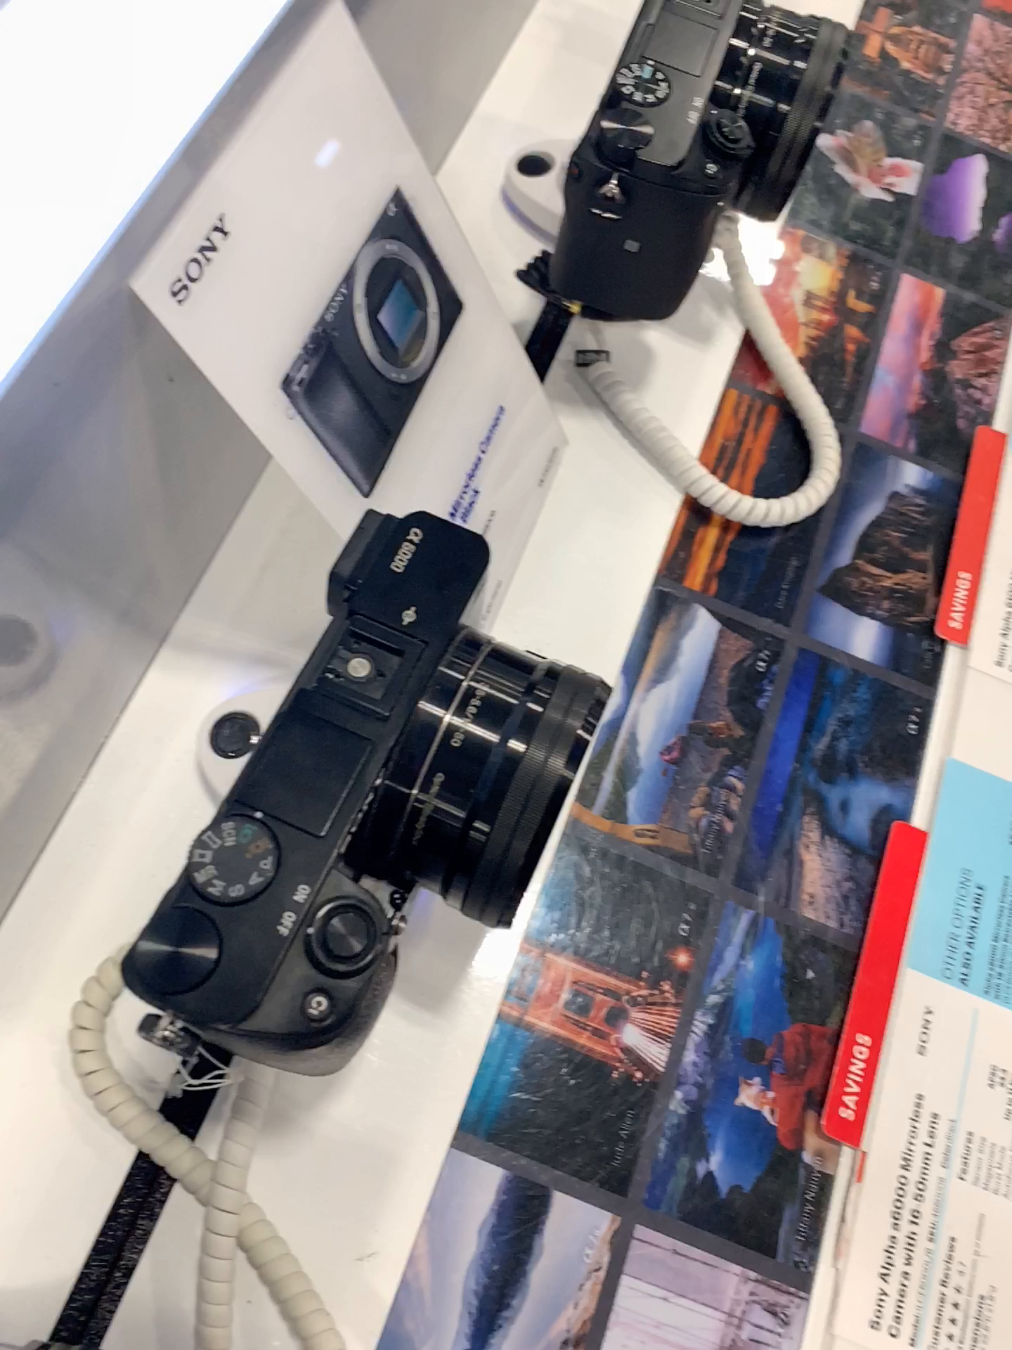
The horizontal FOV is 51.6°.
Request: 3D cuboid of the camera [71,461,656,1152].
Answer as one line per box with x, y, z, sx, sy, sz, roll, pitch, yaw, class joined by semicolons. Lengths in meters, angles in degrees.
-0.023;0.031;0.233;0.065;0.074;0.120;21;65;7;camera
